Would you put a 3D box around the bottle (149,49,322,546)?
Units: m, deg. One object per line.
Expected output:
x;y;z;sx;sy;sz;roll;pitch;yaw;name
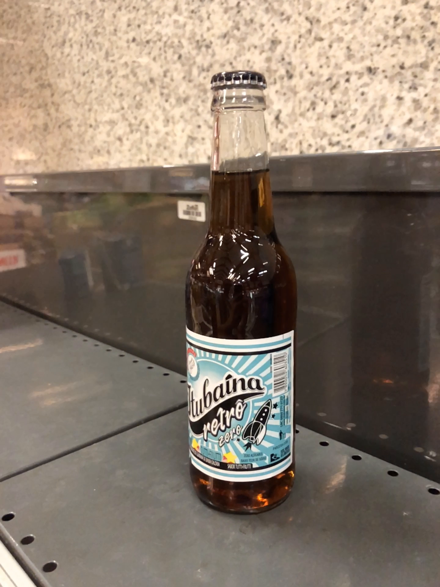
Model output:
0.012;0.006;0.269;0.070;0.239;0.050;6;15;34;bottle
